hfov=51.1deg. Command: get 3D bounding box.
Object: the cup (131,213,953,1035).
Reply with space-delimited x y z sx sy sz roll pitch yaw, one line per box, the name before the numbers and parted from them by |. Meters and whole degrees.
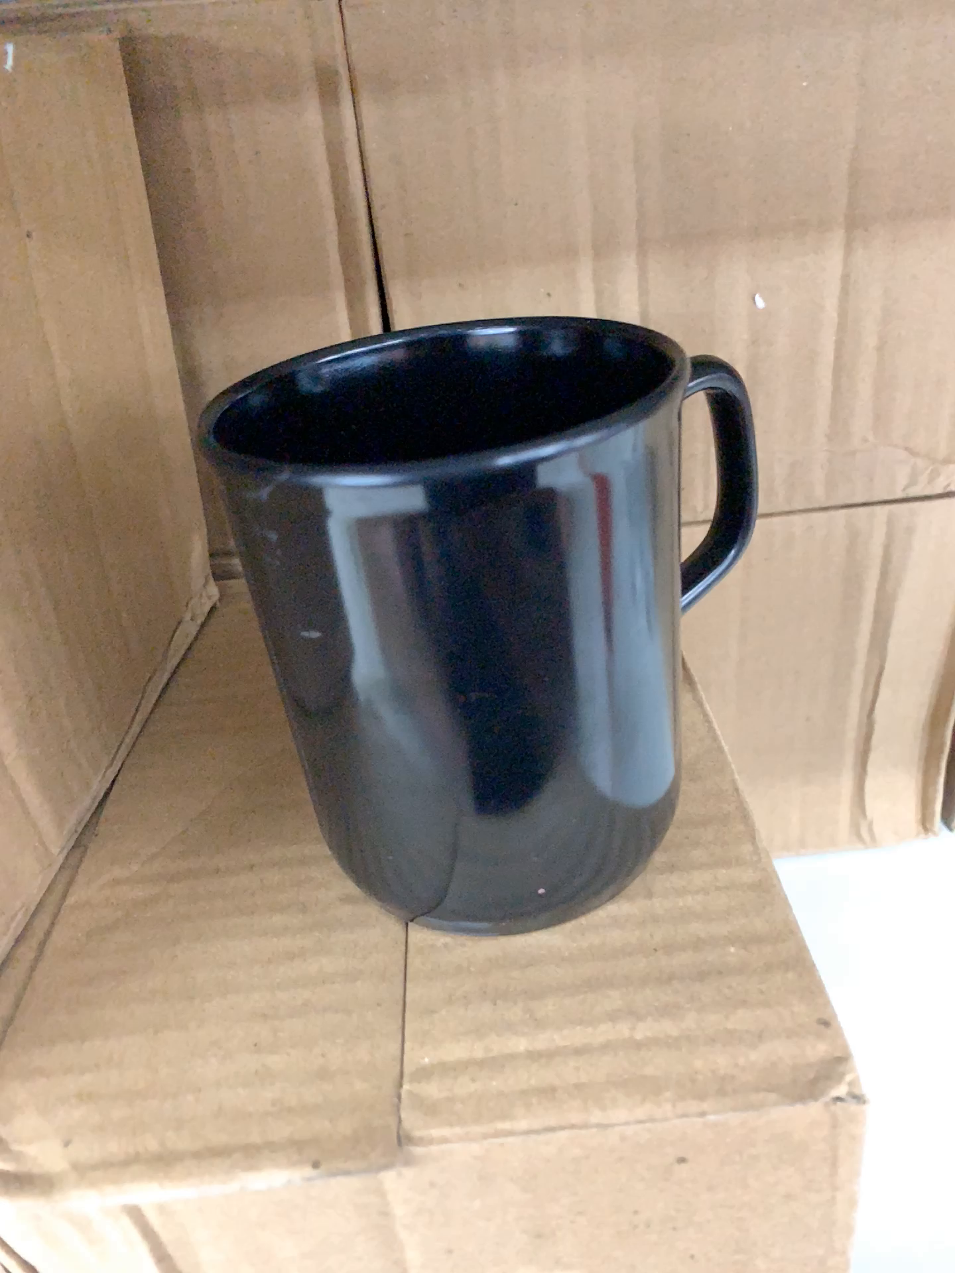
cup | 0.014 -0.012 0.172 0.100 0.089 0.070 -27 37 -27
